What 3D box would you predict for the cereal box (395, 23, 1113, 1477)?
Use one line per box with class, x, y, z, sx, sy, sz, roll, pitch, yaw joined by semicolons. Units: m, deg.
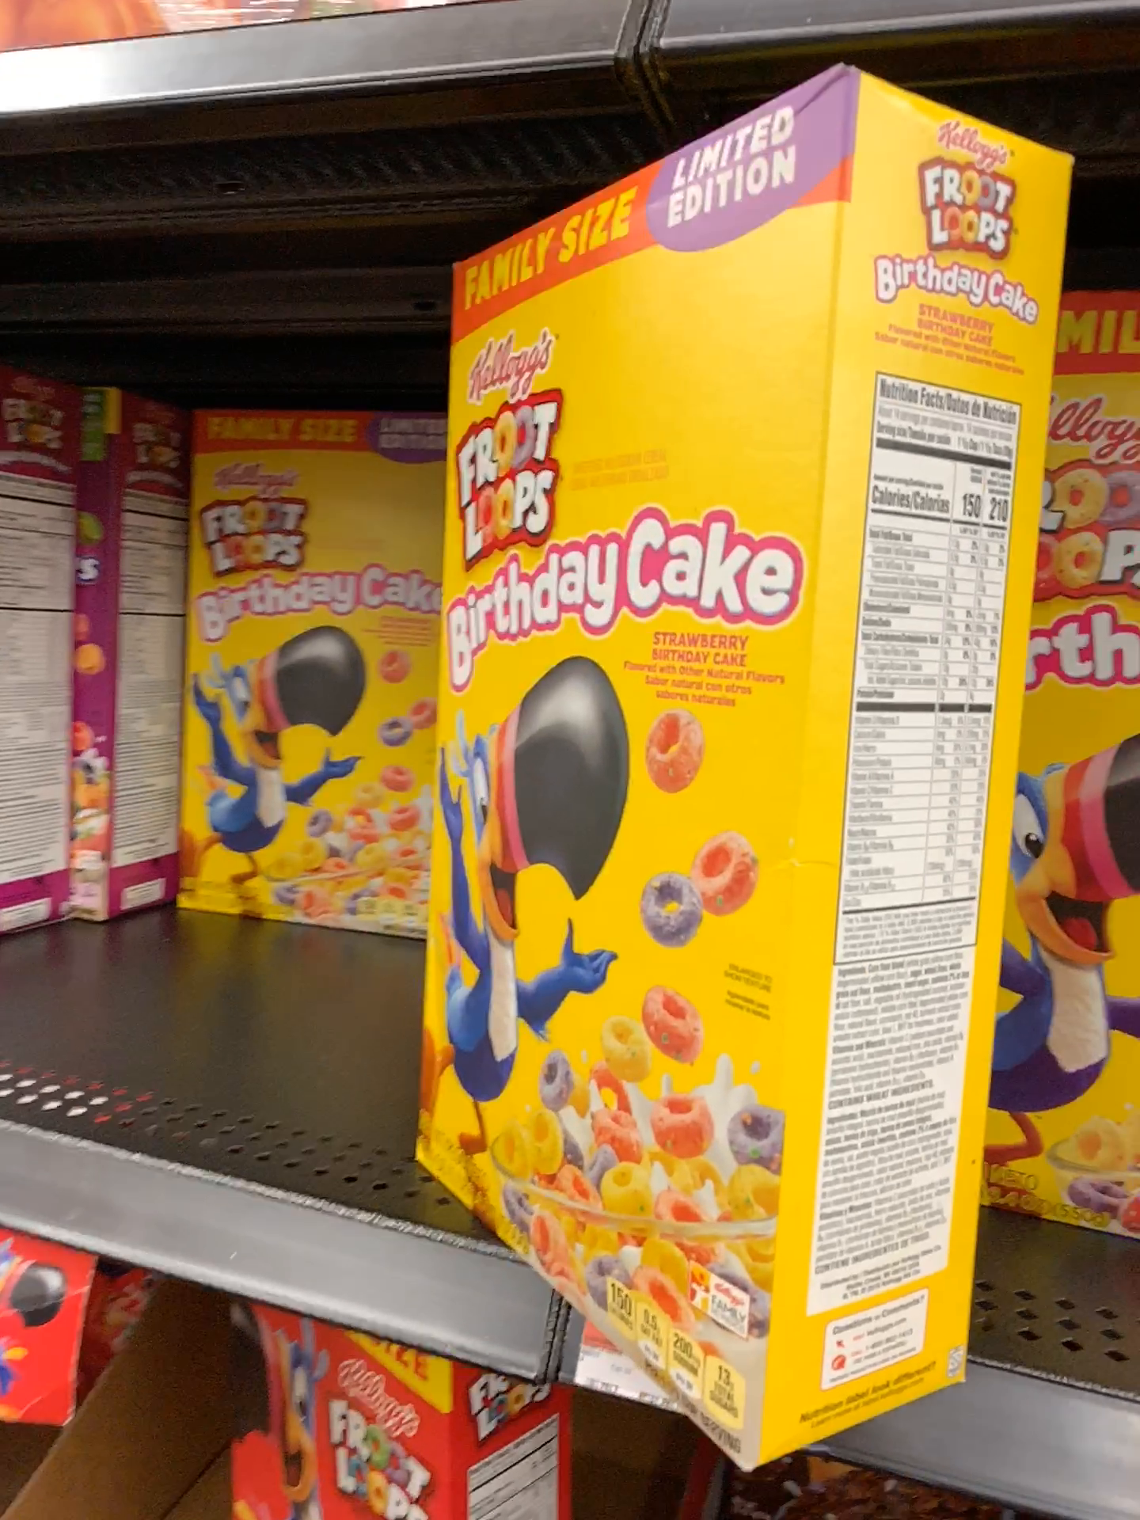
cereal box;0.034;-0.006;0.368;0.080;0.330;0.200;1;7;-33
